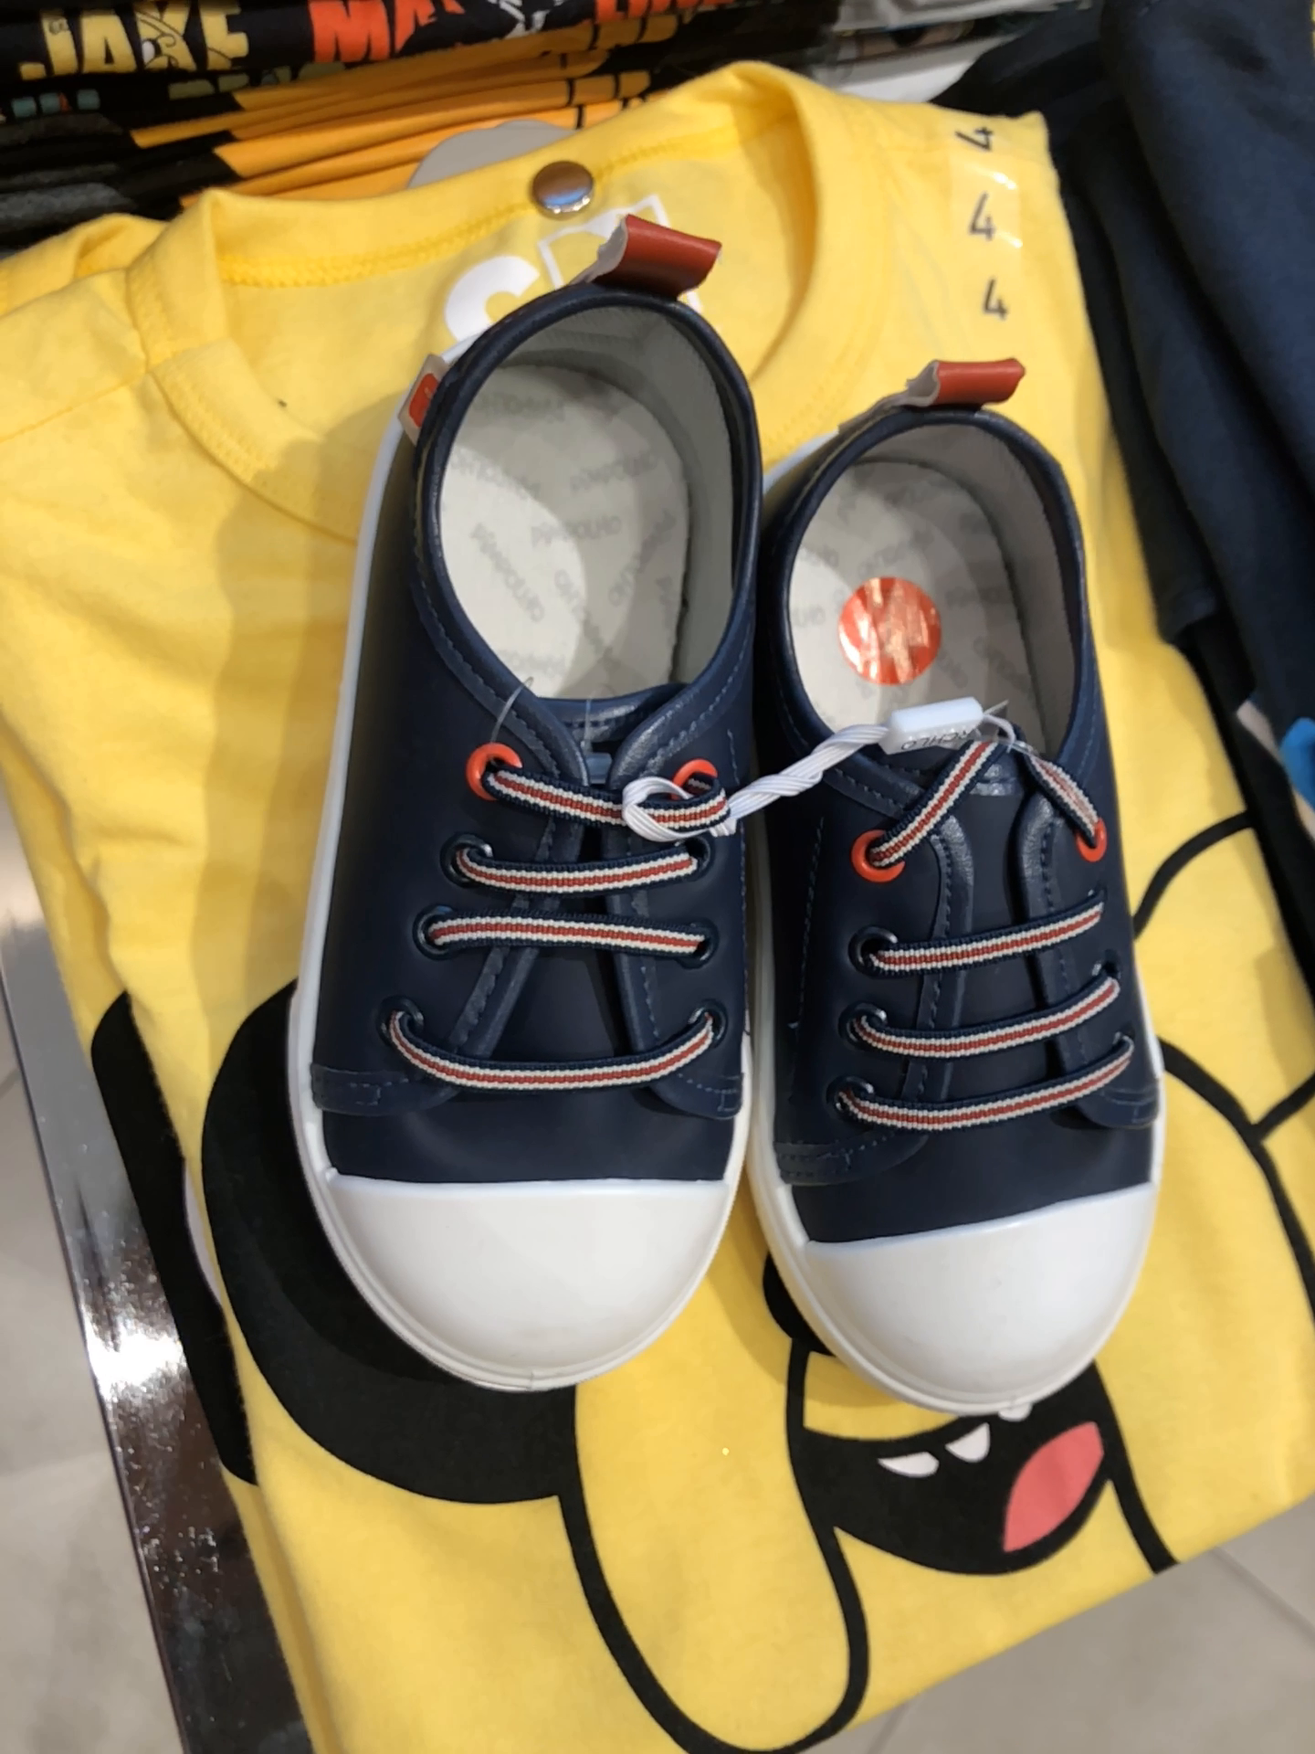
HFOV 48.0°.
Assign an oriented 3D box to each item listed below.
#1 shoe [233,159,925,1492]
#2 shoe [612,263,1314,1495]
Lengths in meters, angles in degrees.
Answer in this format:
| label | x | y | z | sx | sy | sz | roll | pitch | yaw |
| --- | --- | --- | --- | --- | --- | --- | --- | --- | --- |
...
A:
| label | x | y | z | sx | sy | sz | roll | pitch | yaw |
| --- | --- | --- | --- | --- | --- | --- | --- | --- | --- |
| shoe | -0.015 | -0.005 | 0.220 | 0.080 | 0.070 | 0.160 | 3 | 91 | -12 |
| shoe | 0.048 | -0.003 | 0.248 | 0.080 | 0.070 | 0.170 | -7 | 93 | -13 |
